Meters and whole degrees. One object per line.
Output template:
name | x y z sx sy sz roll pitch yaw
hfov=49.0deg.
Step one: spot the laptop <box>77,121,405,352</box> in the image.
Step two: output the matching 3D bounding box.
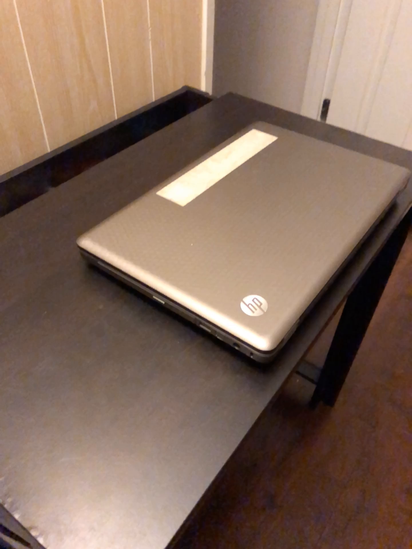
laptop | 0.062 -0.085 0.543 0.238 0.001 0.358 28 50 24
